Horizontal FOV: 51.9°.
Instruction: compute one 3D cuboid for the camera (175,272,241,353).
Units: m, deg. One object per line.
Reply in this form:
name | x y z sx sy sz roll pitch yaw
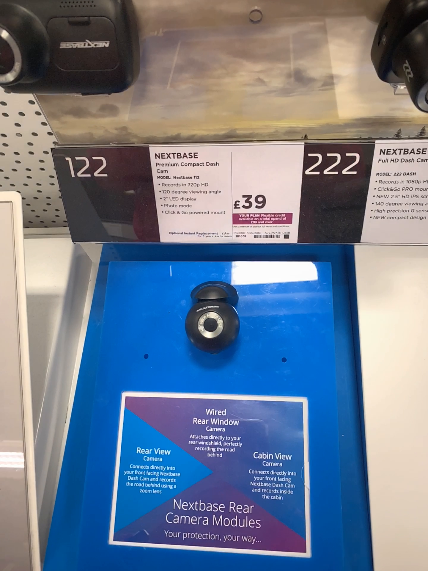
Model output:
camera | -0.002 0.020 0.302 0.040 0.050 0.050 0 80 5
